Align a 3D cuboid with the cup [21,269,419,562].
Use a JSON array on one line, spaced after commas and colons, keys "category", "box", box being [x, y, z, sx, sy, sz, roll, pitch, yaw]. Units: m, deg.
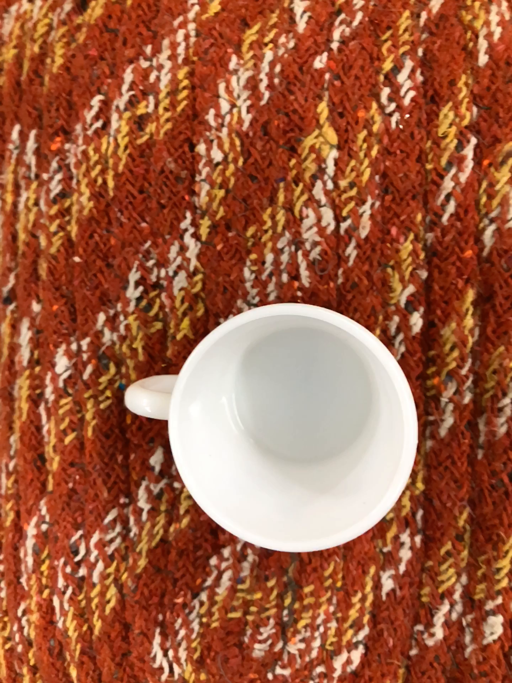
[{"category": "cup", "box": [-0.007, 0.014, 0.162, 0.090, 0.060, 0.060, 4, 95, 9]}]
